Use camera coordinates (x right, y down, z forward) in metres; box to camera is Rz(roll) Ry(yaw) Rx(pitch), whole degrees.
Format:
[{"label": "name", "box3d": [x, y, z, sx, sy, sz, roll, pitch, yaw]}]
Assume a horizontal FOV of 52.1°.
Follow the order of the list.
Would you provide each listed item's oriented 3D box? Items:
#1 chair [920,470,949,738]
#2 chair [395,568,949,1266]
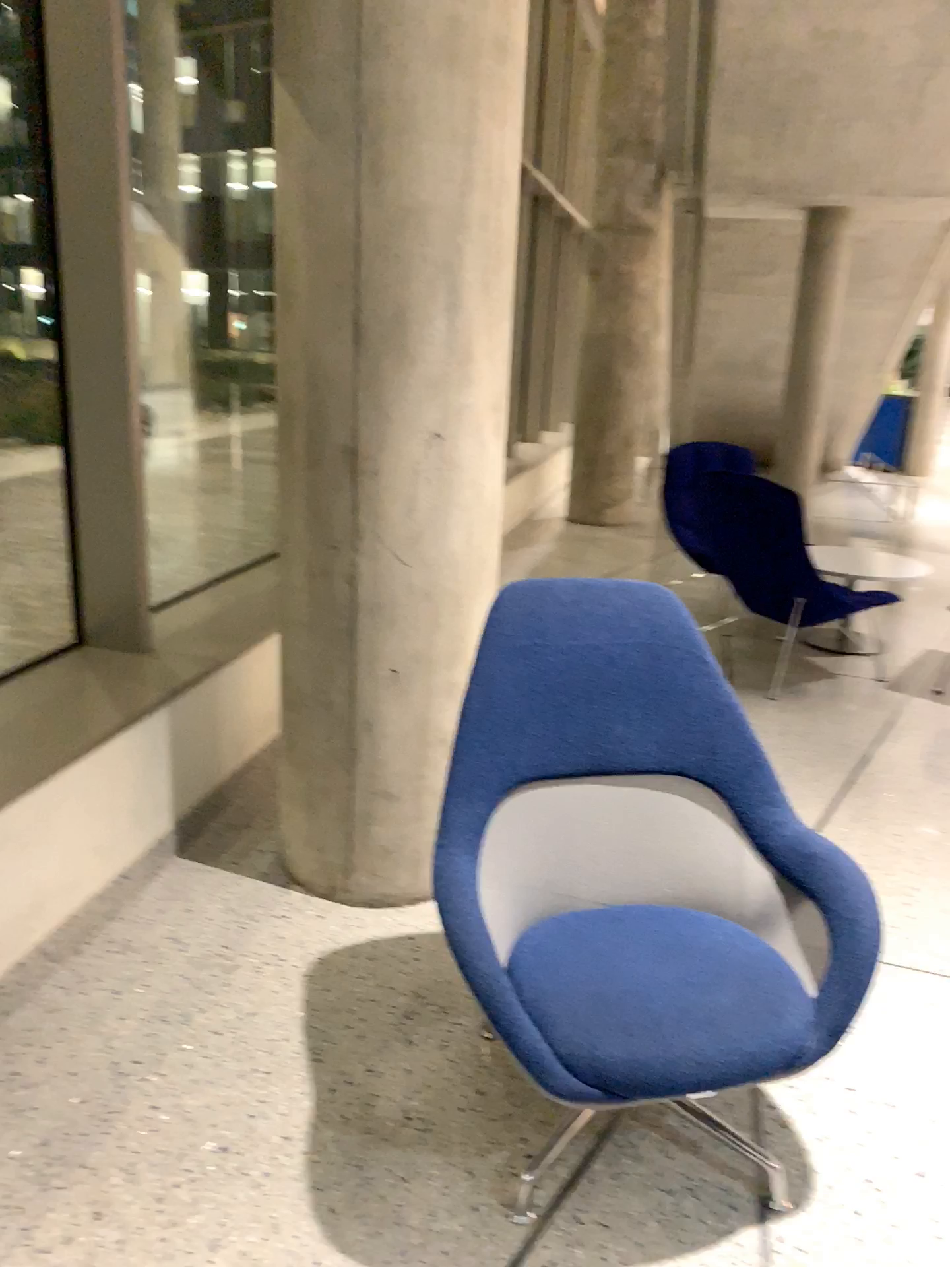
[{"label": "chair", "box3d": [2.594, -0.193, 4.347, 0.783, 0.919, 0.887, 14, 19, 35]}, {"label": "chair", "box3d": [0.311, 0.439, 1.785, 0.814, 0.999, 0.634, -1, 16, -12]}]
